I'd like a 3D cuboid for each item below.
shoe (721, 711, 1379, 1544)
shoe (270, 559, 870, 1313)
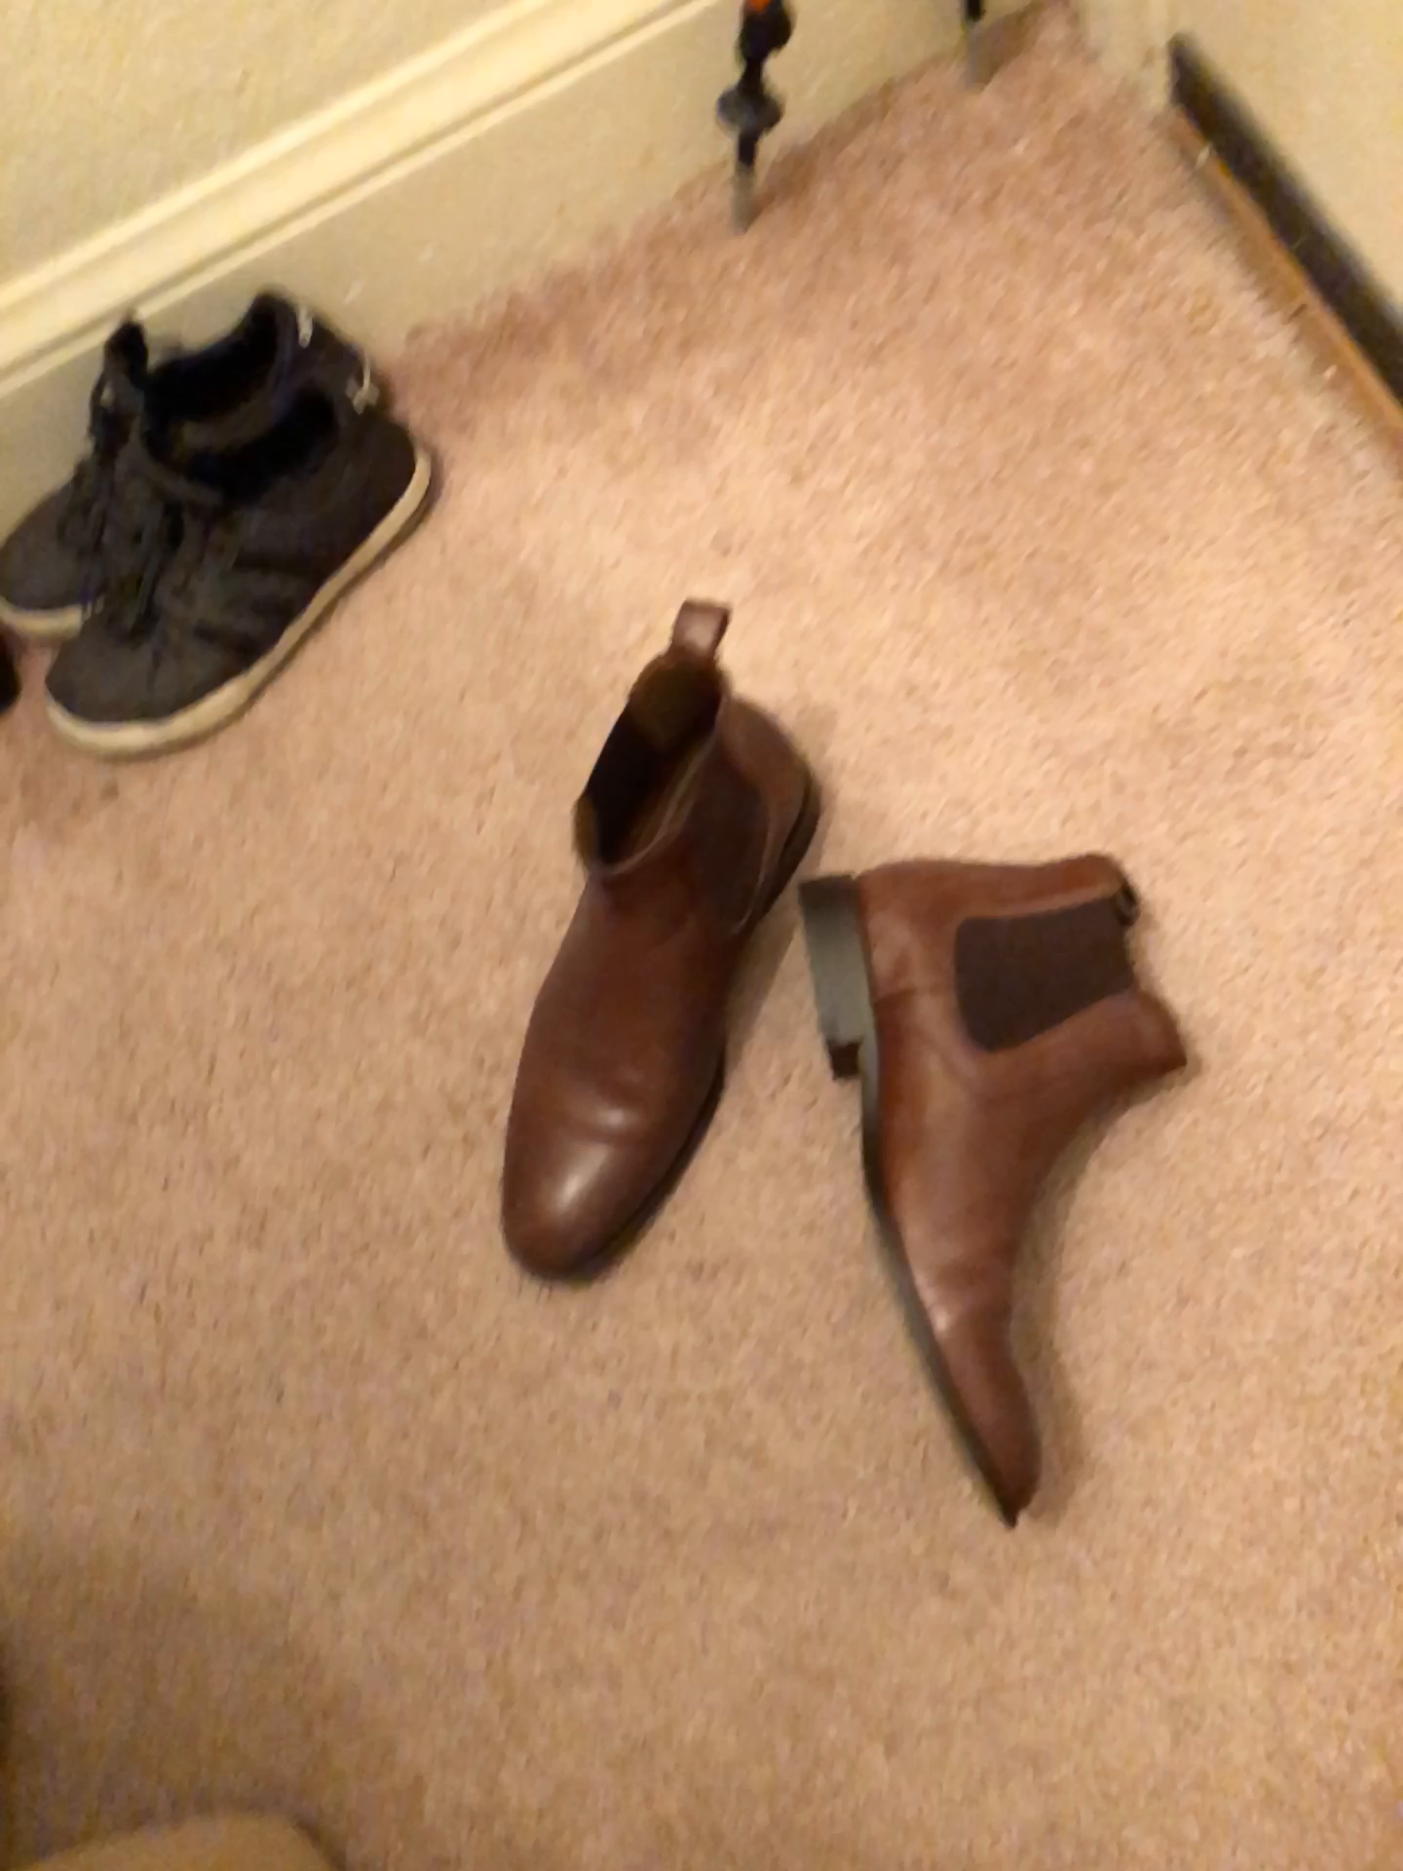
[{"bbox_3d":[0.140,0.083,0.668,0.169,0.119,0.297,-19,70,8],"label":"shoe"},{"bbox_3d":[-0.046,0.007,0.710,0.109,0.159,0.296,22,80,21],"label":"shoe"}]
